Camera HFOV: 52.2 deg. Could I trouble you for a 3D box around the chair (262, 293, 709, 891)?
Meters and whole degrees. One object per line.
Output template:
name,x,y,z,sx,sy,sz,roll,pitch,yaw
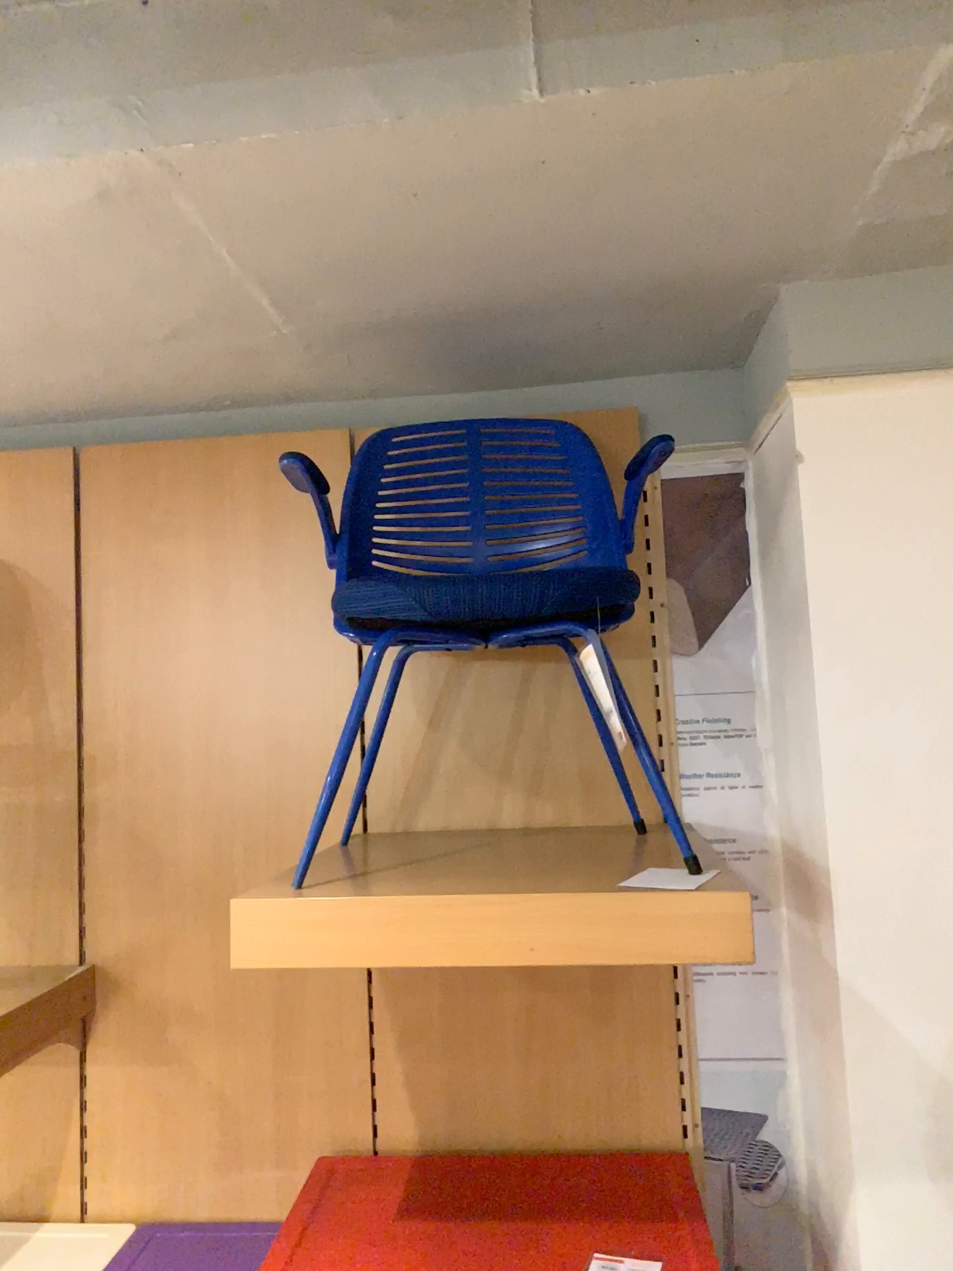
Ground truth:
chair,0.011,-0.047,1.592,0.570,0.791,0.549,-3,-5,1
